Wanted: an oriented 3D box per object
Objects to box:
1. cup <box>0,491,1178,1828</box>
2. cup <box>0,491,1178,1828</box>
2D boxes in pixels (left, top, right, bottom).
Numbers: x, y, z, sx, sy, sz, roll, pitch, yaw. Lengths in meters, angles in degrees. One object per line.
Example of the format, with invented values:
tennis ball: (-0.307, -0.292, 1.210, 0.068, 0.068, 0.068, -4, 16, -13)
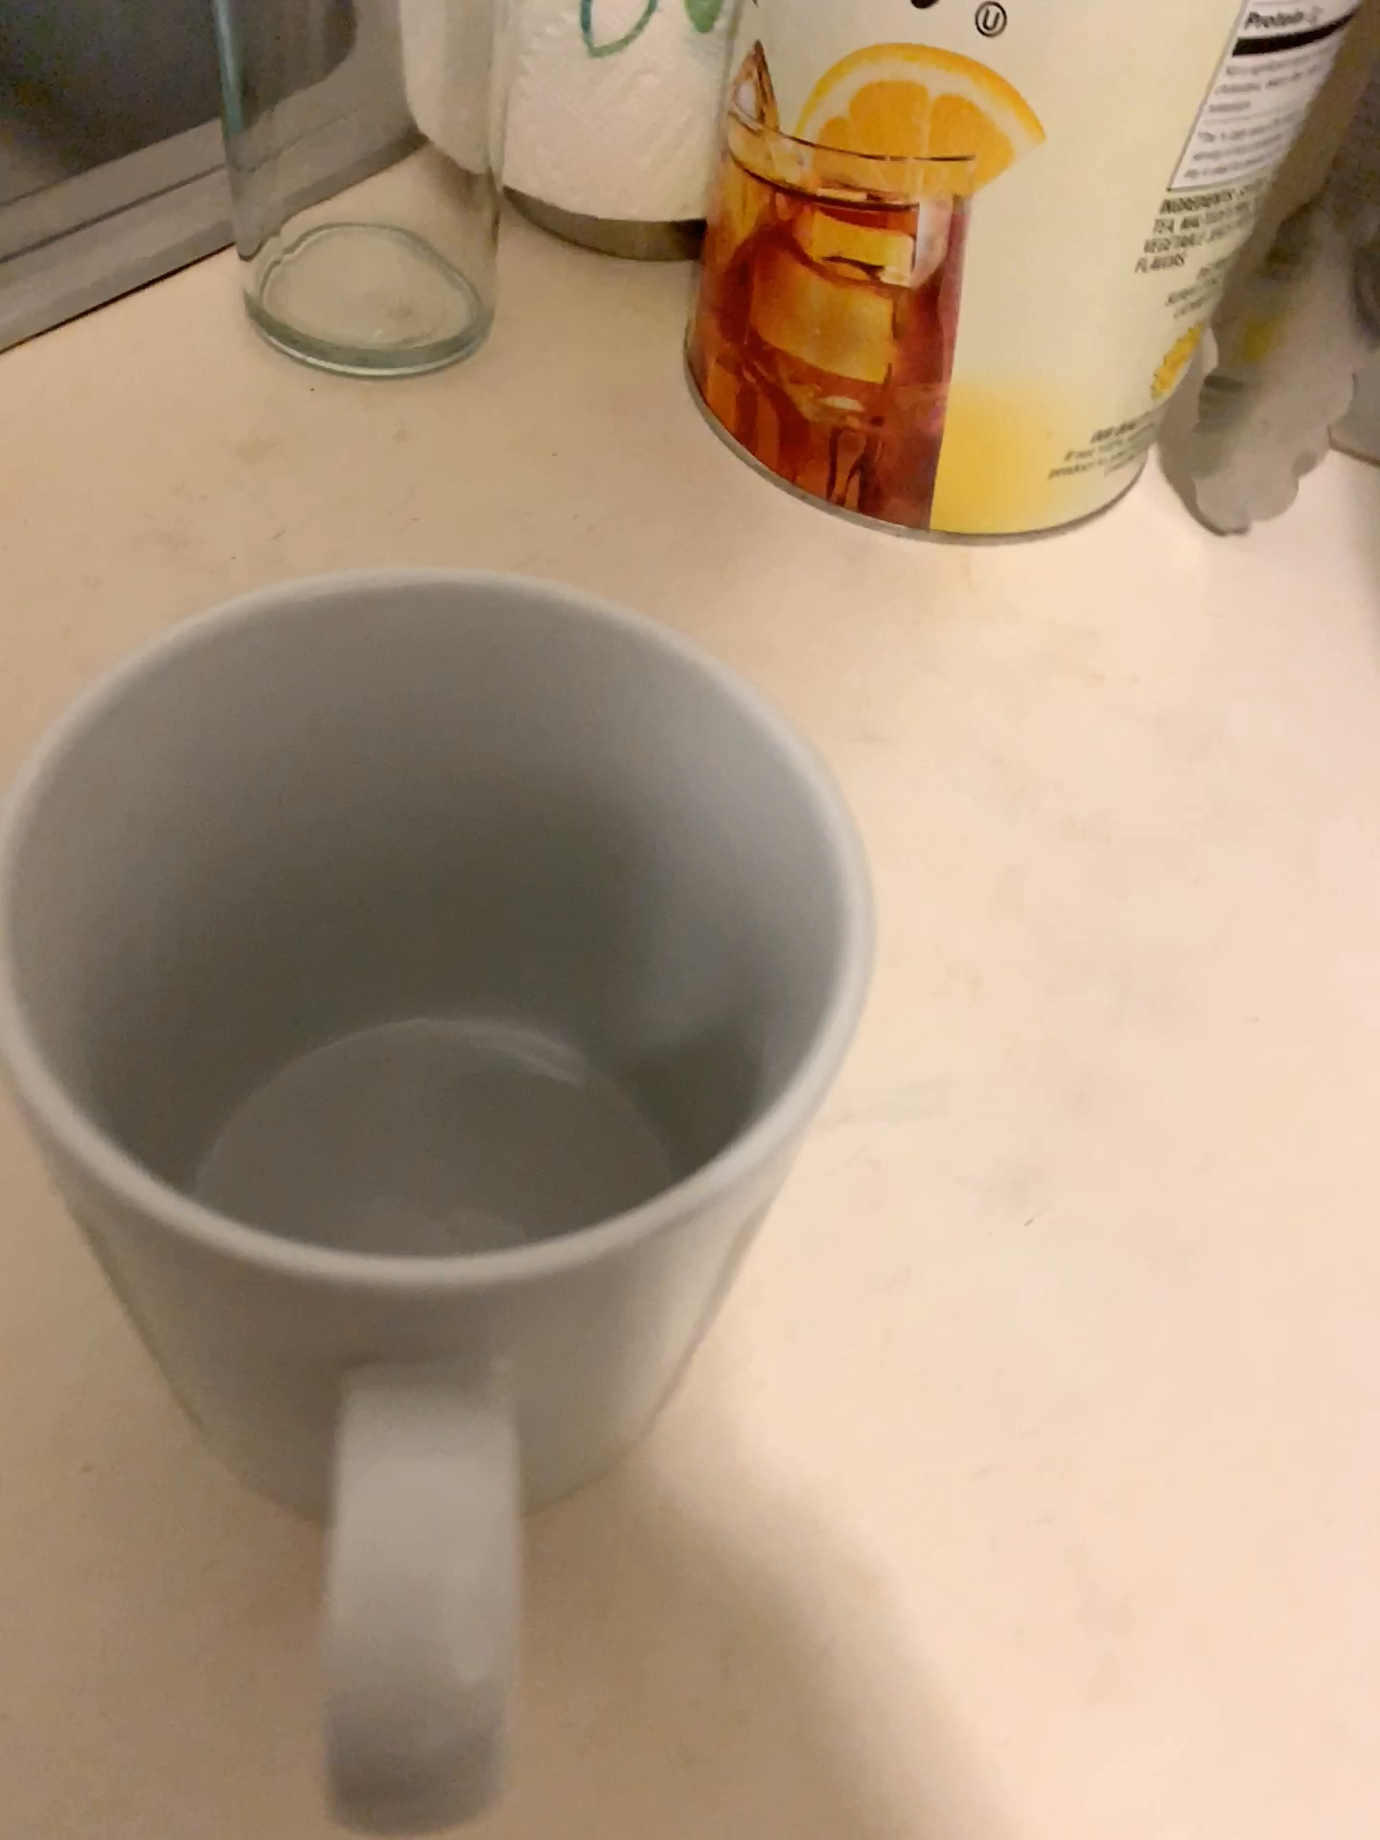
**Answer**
cup: (-0.025, 0.033, 0.188, 0.100, 0.110, 0.131, 0, 55, -11)
cup: (-0.025, 0.033, 0.188, 0.100, 0.110, 0.131, 0, 55, -11)
